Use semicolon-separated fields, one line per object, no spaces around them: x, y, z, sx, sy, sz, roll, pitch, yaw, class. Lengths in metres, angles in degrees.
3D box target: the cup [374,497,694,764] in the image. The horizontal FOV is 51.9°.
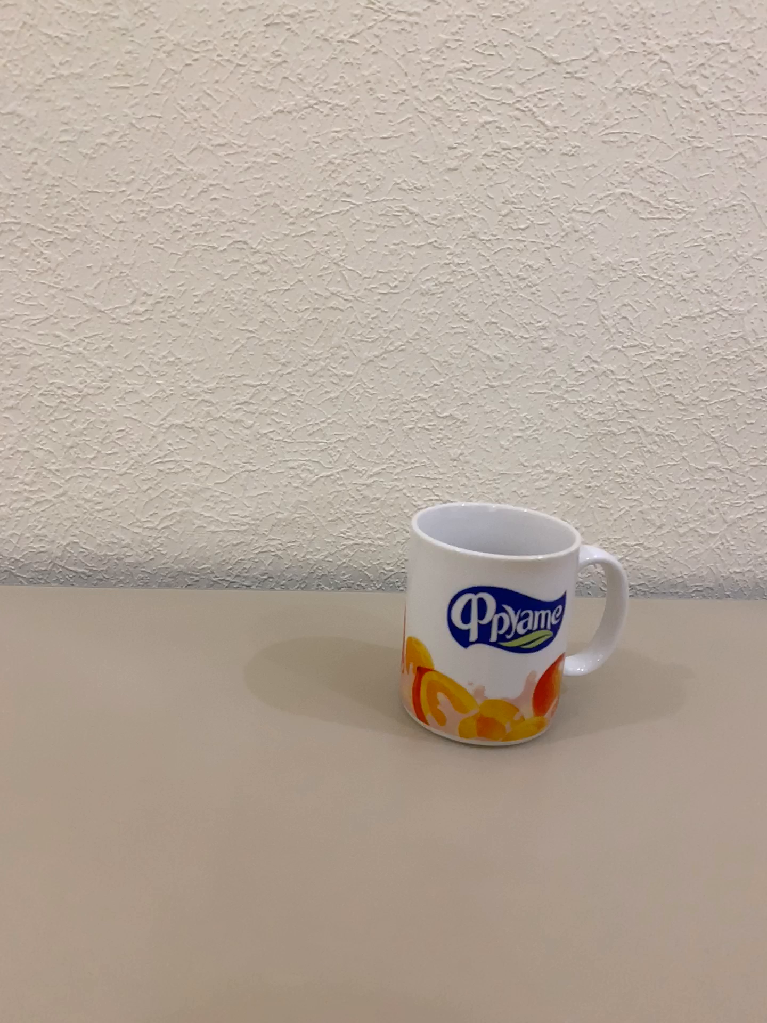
0.065;0.050;0.377;0.116;0.092;0.081;-1;18;-18;cup
